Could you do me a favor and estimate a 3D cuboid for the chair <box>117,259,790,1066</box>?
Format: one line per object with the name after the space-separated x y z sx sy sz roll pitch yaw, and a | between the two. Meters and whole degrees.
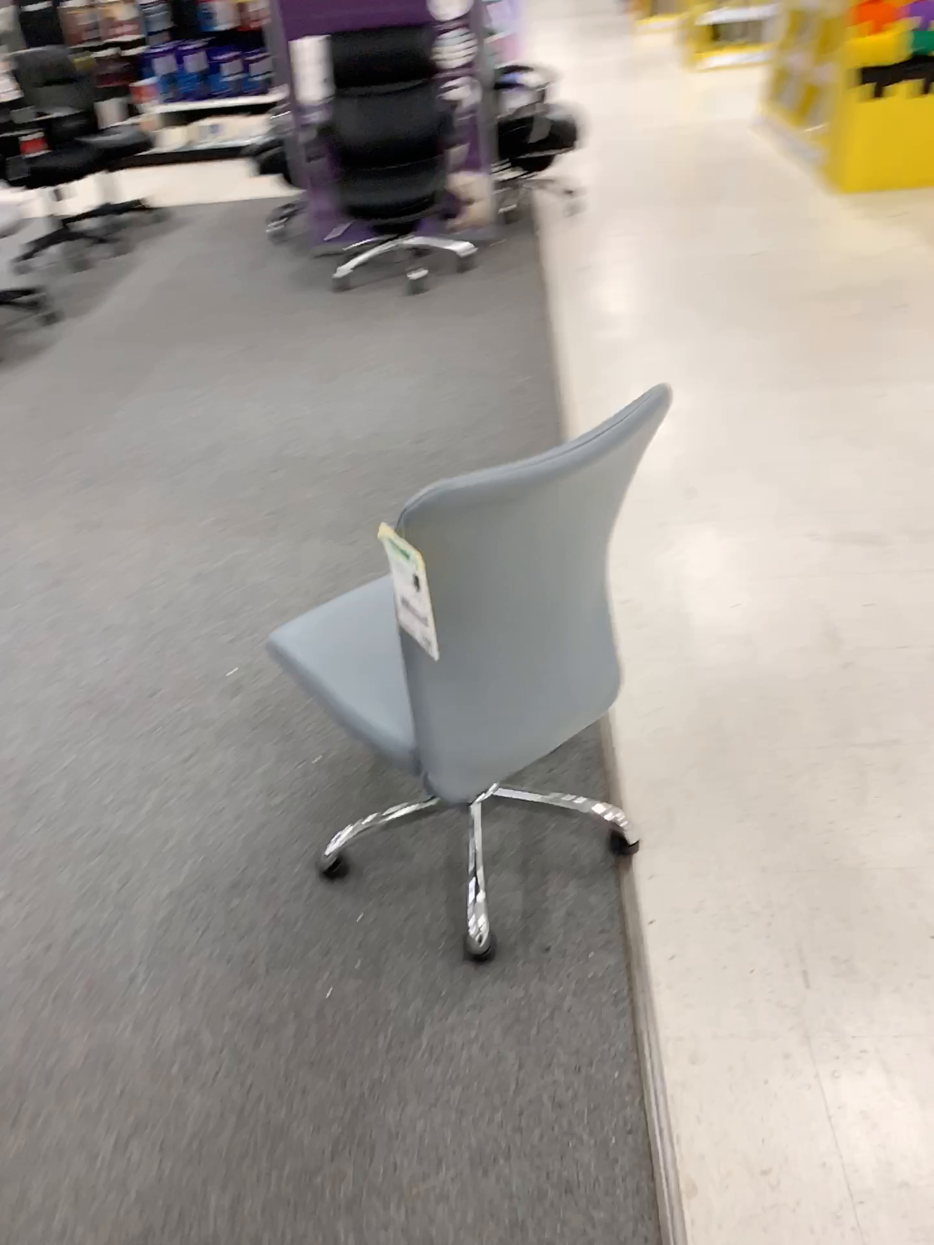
-0.018 0.020 1.461 0.601 0.875 0.653 -25 40 -24 | chair
